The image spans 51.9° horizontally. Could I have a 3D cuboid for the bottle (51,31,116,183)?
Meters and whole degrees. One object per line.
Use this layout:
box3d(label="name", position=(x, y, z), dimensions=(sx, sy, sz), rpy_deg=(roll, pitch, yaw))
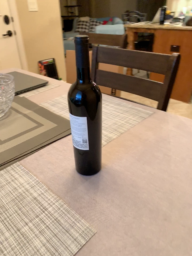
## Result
box3d(label="bottle", position=(-0.019, -0.036, 0.456), dimensions=(0.084, 0.328, 0.090), rpy_deg=(-1, 31, 1))
